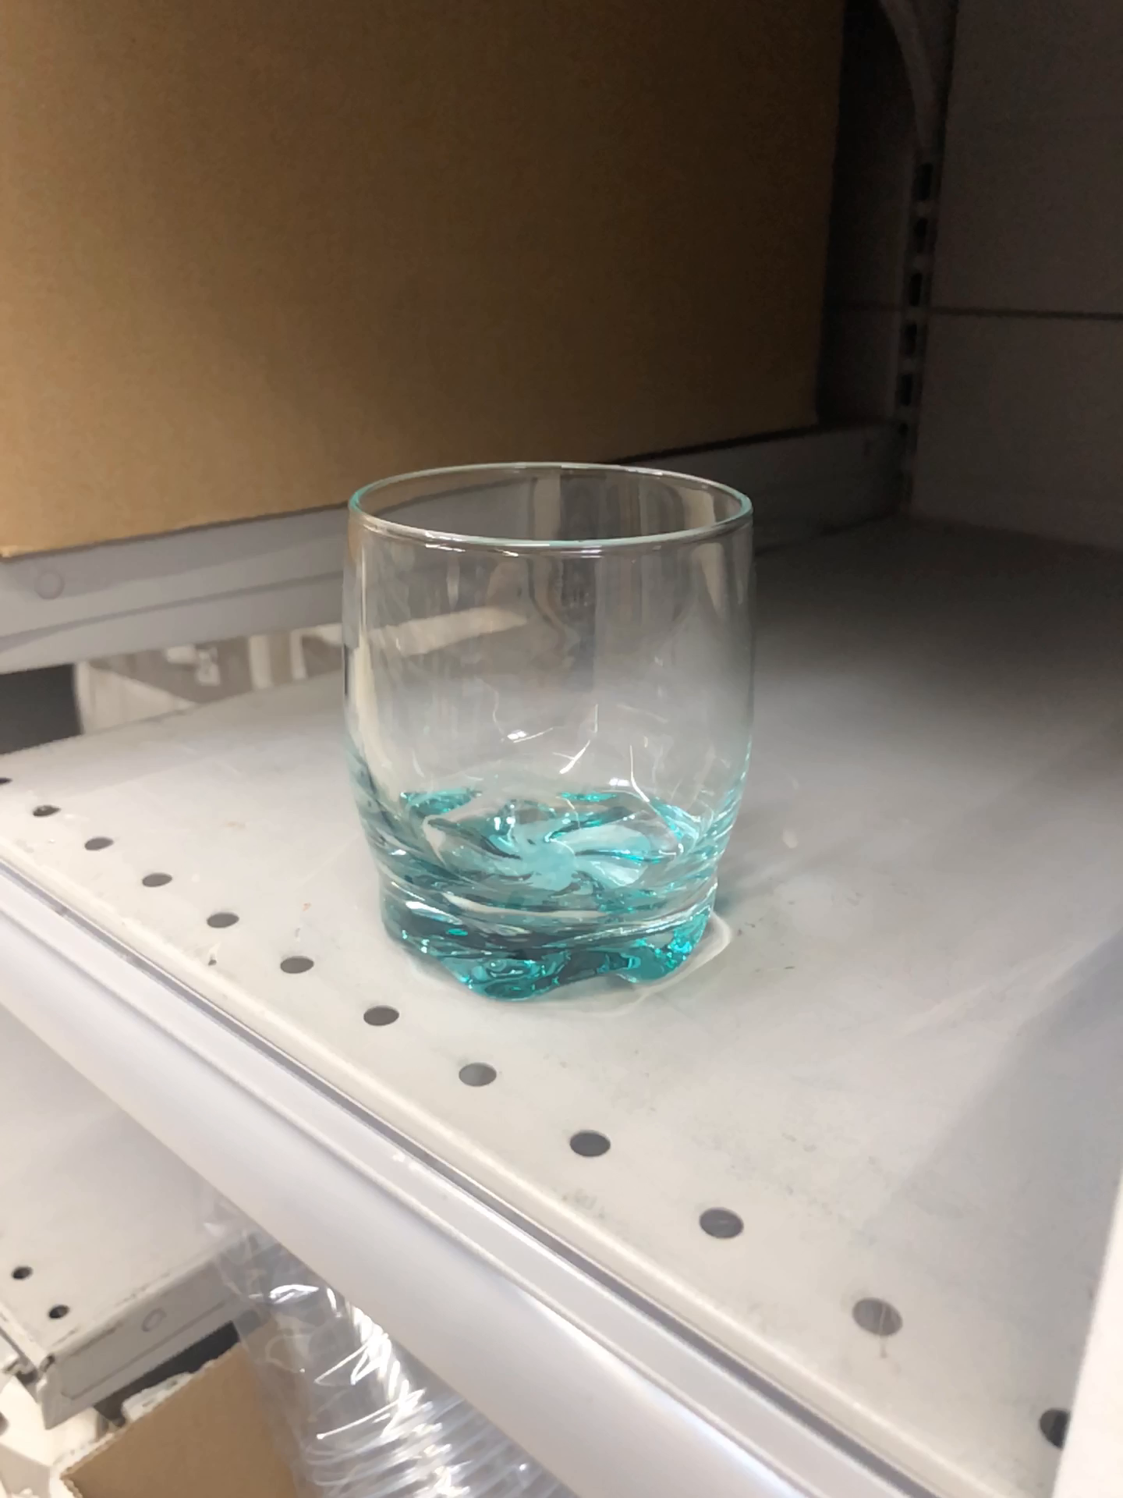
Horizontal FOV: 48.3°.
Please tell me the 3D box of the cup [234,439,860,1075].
[{"bbox_3d":[-0.005,-0.008,0.235,0.074,0.082,0.082,-17,29,-37],"label":"cup"}]
